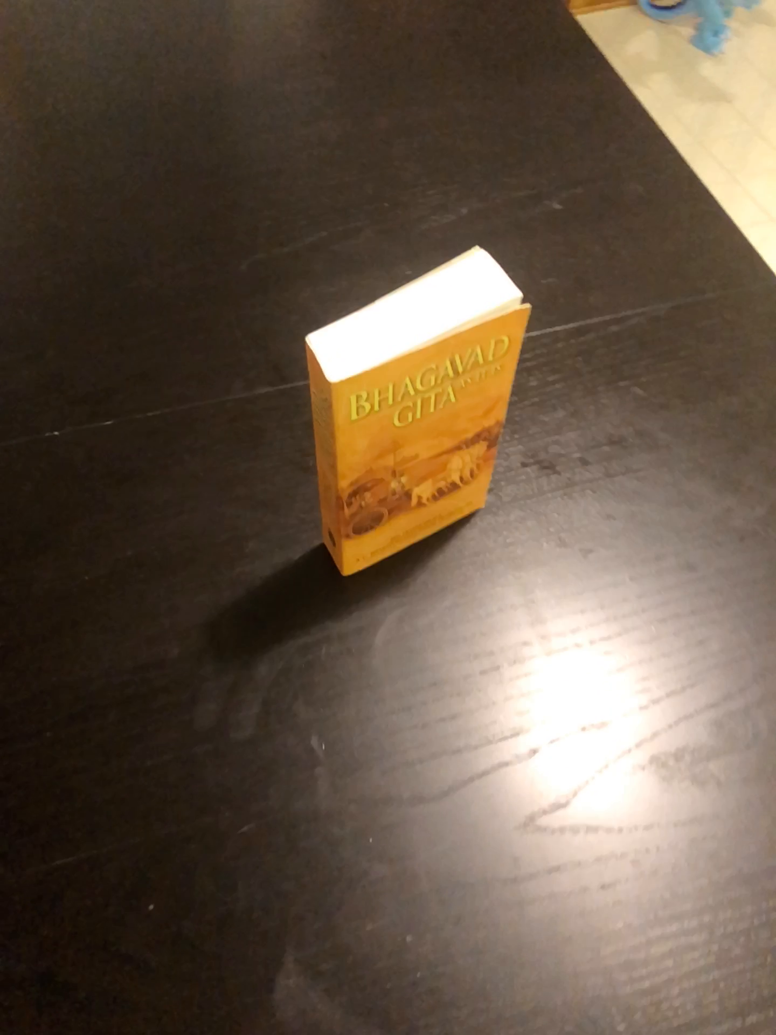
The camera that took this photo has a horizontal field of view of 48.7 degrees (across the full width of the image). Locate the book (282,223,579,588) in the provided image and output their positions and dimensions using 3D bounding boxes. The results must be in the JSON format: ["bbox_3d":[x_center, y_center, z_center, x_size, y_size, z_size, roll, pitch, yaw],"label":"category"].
[{"bbox_3d":[0.020,-0.053,0.471,0.126,0.174,0.059,-26,61,-16],"label":"book"}]
